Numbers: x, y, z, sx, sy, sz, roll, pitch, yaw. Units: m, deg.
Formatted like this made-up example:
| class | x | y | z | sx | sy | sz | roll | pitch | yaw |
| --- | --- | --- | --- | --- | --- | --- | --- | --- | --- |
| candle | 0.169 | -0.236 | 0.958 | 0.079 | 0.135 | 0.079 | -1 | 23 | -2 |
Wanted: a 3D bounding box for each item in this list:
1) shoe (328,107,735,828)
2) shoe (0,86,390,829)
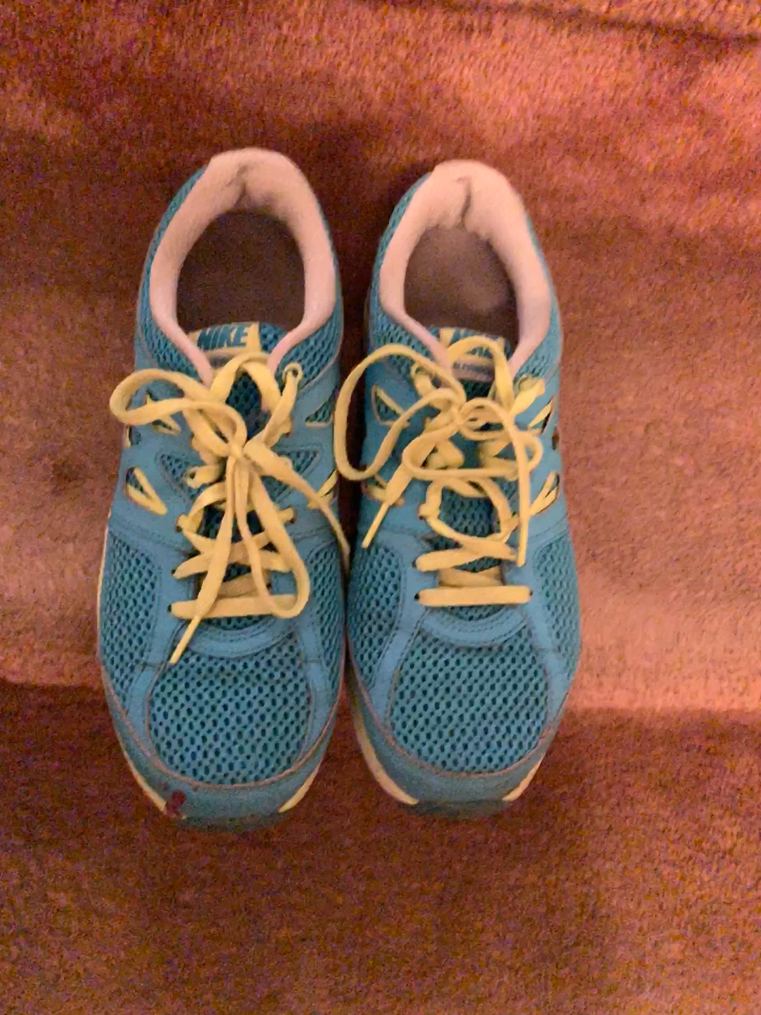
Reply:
| class | x | y | z | sx | sy | sz | roll | pitch | yaw |
| --- | --- | --- | --- | --- | --- | --- | --- | --- | --- |
| shoe | 0.043 | -0.024 | 0.328 | 0.110 | 0.099 | 0.282 | 4 | 62 | -6 |
| shoe | -0.063 | -0.028 | 0.316 | 0.110 | 0.099 | 0.282 | 2 | 63 | -7 |
